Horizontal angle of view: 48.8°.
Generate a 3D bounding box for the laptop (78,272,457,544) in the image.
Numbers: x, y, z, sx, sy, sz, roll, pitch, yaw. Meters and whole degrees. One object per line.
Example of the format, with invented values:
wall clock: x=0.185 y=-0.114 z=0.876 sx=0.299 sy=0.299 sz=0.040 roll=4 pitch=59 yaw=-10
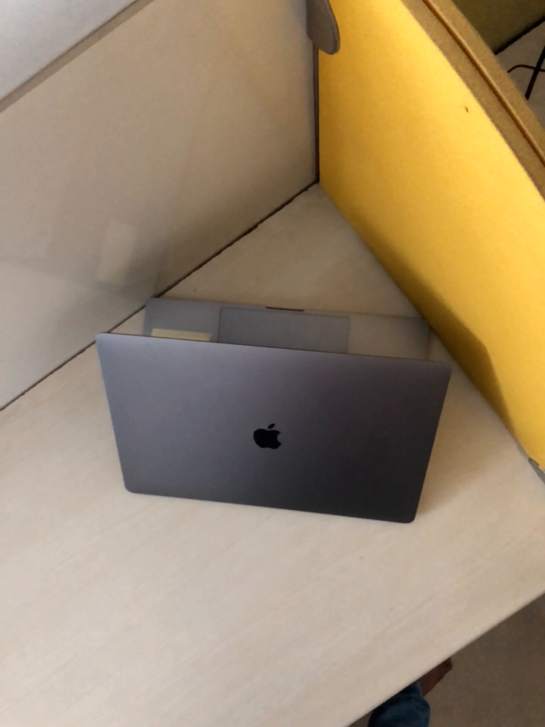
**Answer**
laptop: x=-0.002 y=0.044 z=0.655 sx=0.344 sy=0.153 sz=0.235 roll=5 pitch=87 yaw=4
